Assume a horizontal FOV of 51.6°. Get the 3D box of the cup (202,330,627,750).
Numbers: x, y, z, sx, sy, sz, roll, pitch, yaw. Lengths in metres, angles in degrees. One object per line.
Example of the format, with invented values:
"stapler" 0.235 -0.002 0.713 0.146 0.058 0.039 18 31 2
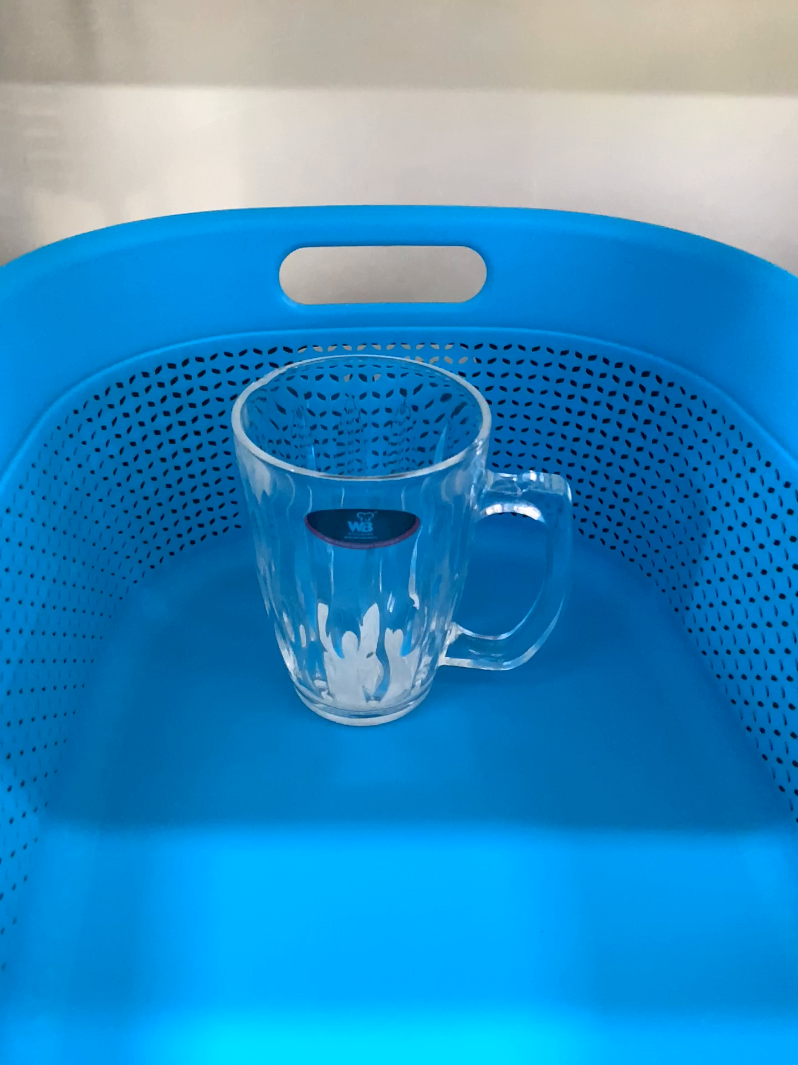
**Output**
"cup" 0.005 0.002 0.278 0.110 0.109 0.081 3 37 2
